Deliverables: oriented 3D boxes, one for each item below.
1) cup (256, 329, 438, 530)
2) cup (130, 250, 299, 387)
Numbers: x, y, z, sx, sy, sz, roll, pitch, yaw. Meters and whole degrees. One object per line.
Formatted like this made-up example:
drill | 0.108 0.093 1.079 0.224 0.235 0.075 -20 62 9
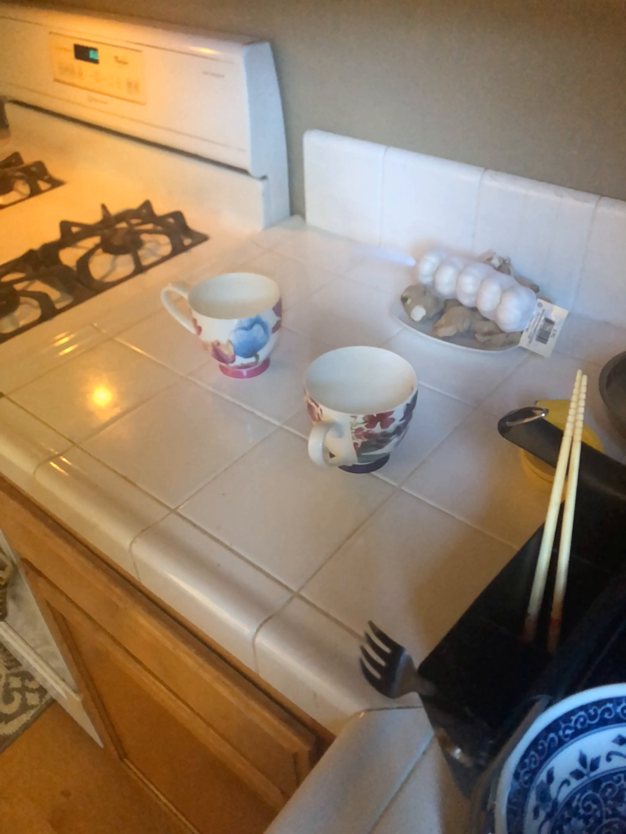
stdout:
cup | 0.036 0.005 0.648 0.110 0.089 0.151 16 43 21
cup | -0.112 -0.119 0.805 0.150 0.079 0.111 22 46 27
